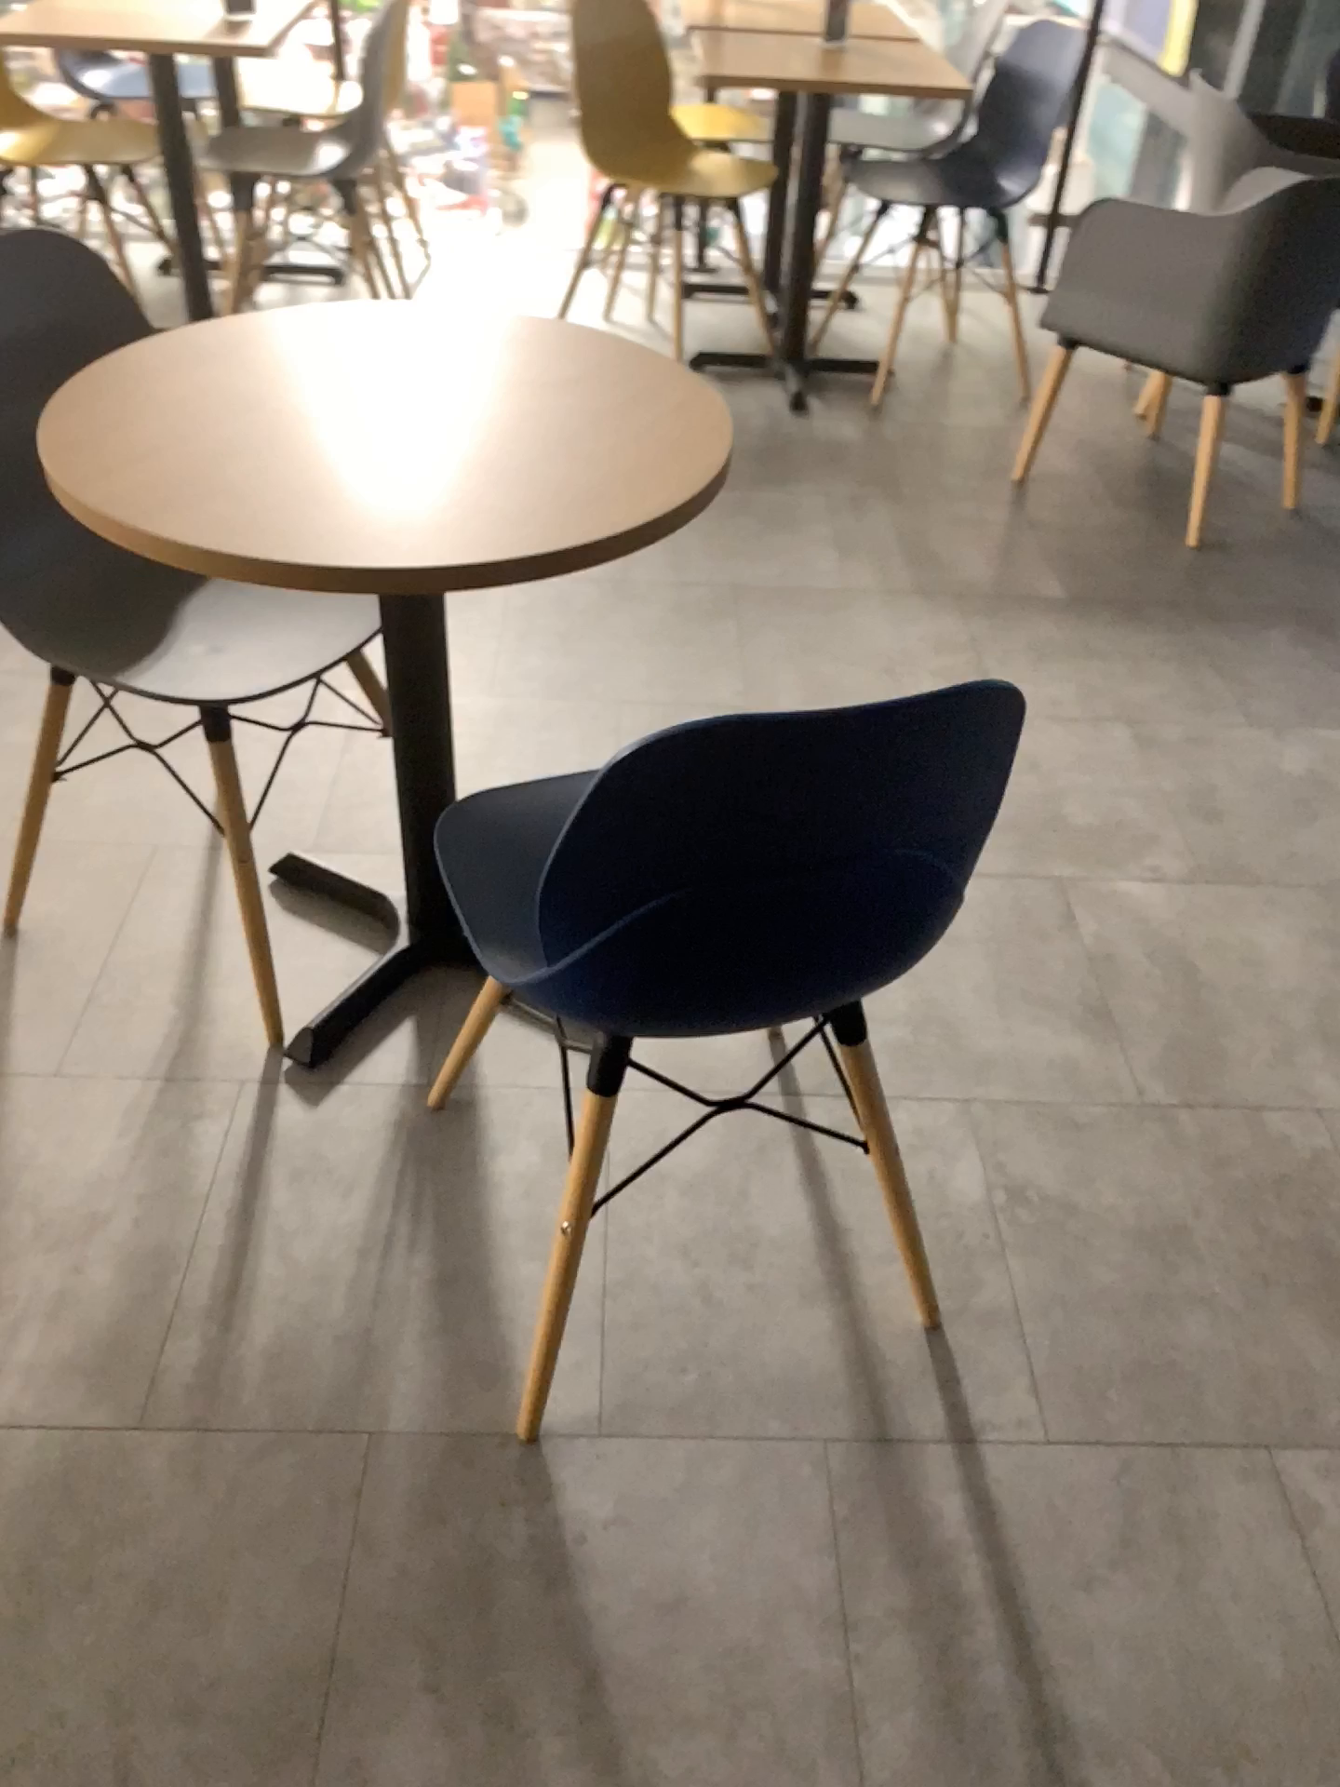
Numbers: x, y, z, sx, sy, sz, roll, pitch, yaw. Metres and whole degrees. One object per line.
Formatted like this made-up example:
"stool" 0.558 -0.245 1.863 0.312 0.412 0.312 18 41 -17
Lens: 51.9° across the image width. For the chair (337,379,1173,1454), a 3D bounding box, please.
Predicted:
"chair" 0.009 0.023 1.303 0.490 0.809 0.501 -10 41 -16
